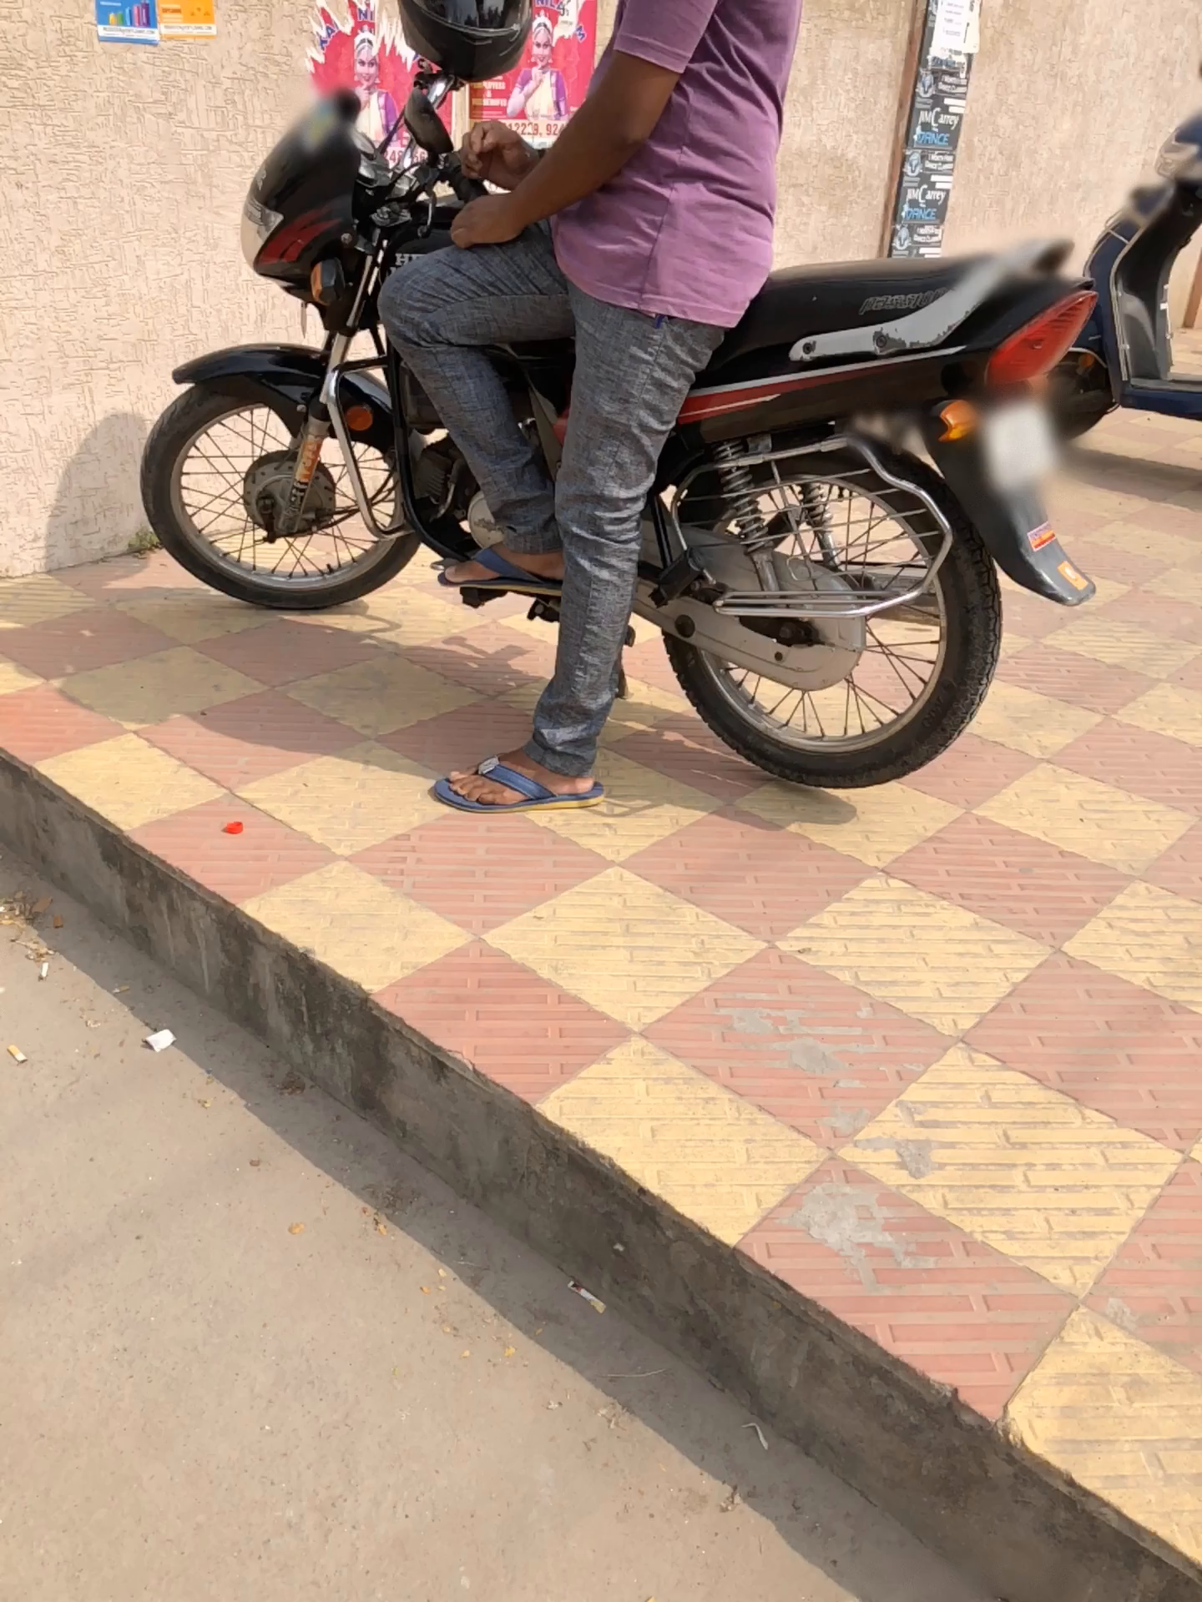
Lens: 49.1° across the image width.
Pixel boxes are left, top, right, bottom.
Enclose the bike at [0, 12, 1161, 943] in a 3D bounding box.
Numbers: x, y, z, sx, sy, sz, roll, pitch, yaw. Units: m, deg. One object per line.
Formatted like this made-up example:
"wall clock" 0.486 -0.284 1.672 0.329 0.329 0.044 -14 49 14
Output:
"bike" -0.174 -0.655 2.254 1.720 1.066 0.898 16 30 22
